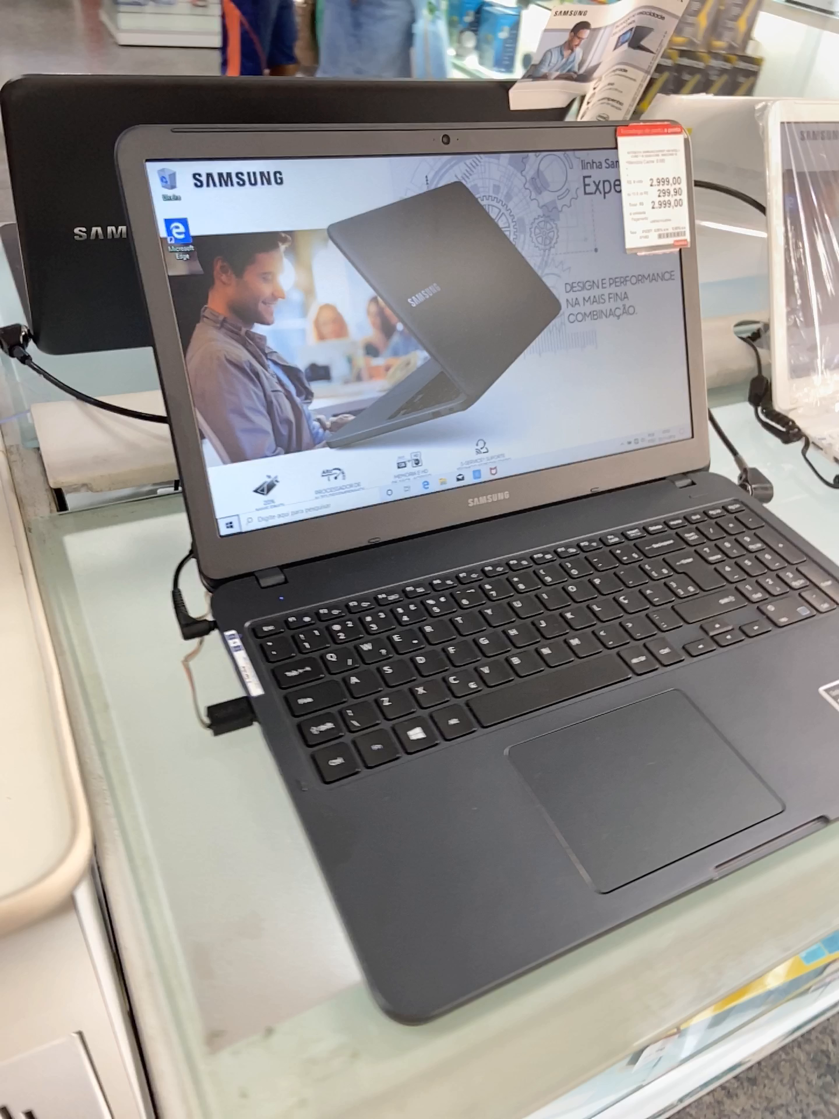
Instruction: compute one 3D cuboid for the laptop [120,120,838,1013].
[{"bbox_3d":[0.085,-0.065,0.451,0.371,0.200,0.370,-14,44,-24],"label":"laptop"}]
